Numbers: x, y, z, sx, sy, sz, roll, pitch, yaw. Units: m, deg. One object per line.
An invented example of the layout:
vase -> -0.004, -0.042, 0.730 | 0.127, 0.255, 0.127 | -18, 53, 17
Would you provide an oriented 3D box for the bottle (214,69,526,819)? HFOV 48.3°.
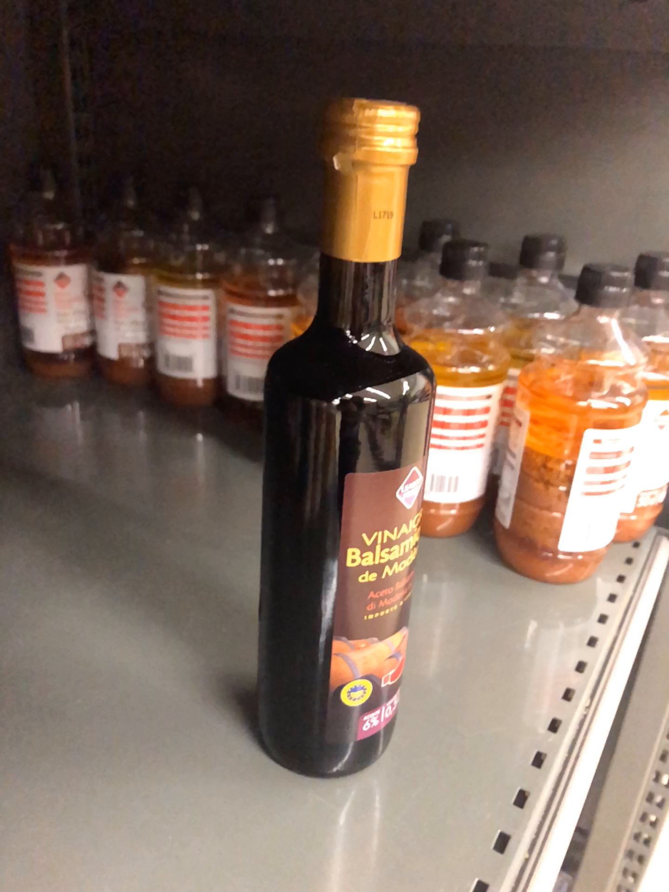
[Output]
bottle -> 0.004, 0.007, 0.291 | 0.070, 0.269, 0.070 | 4, 24, -2
